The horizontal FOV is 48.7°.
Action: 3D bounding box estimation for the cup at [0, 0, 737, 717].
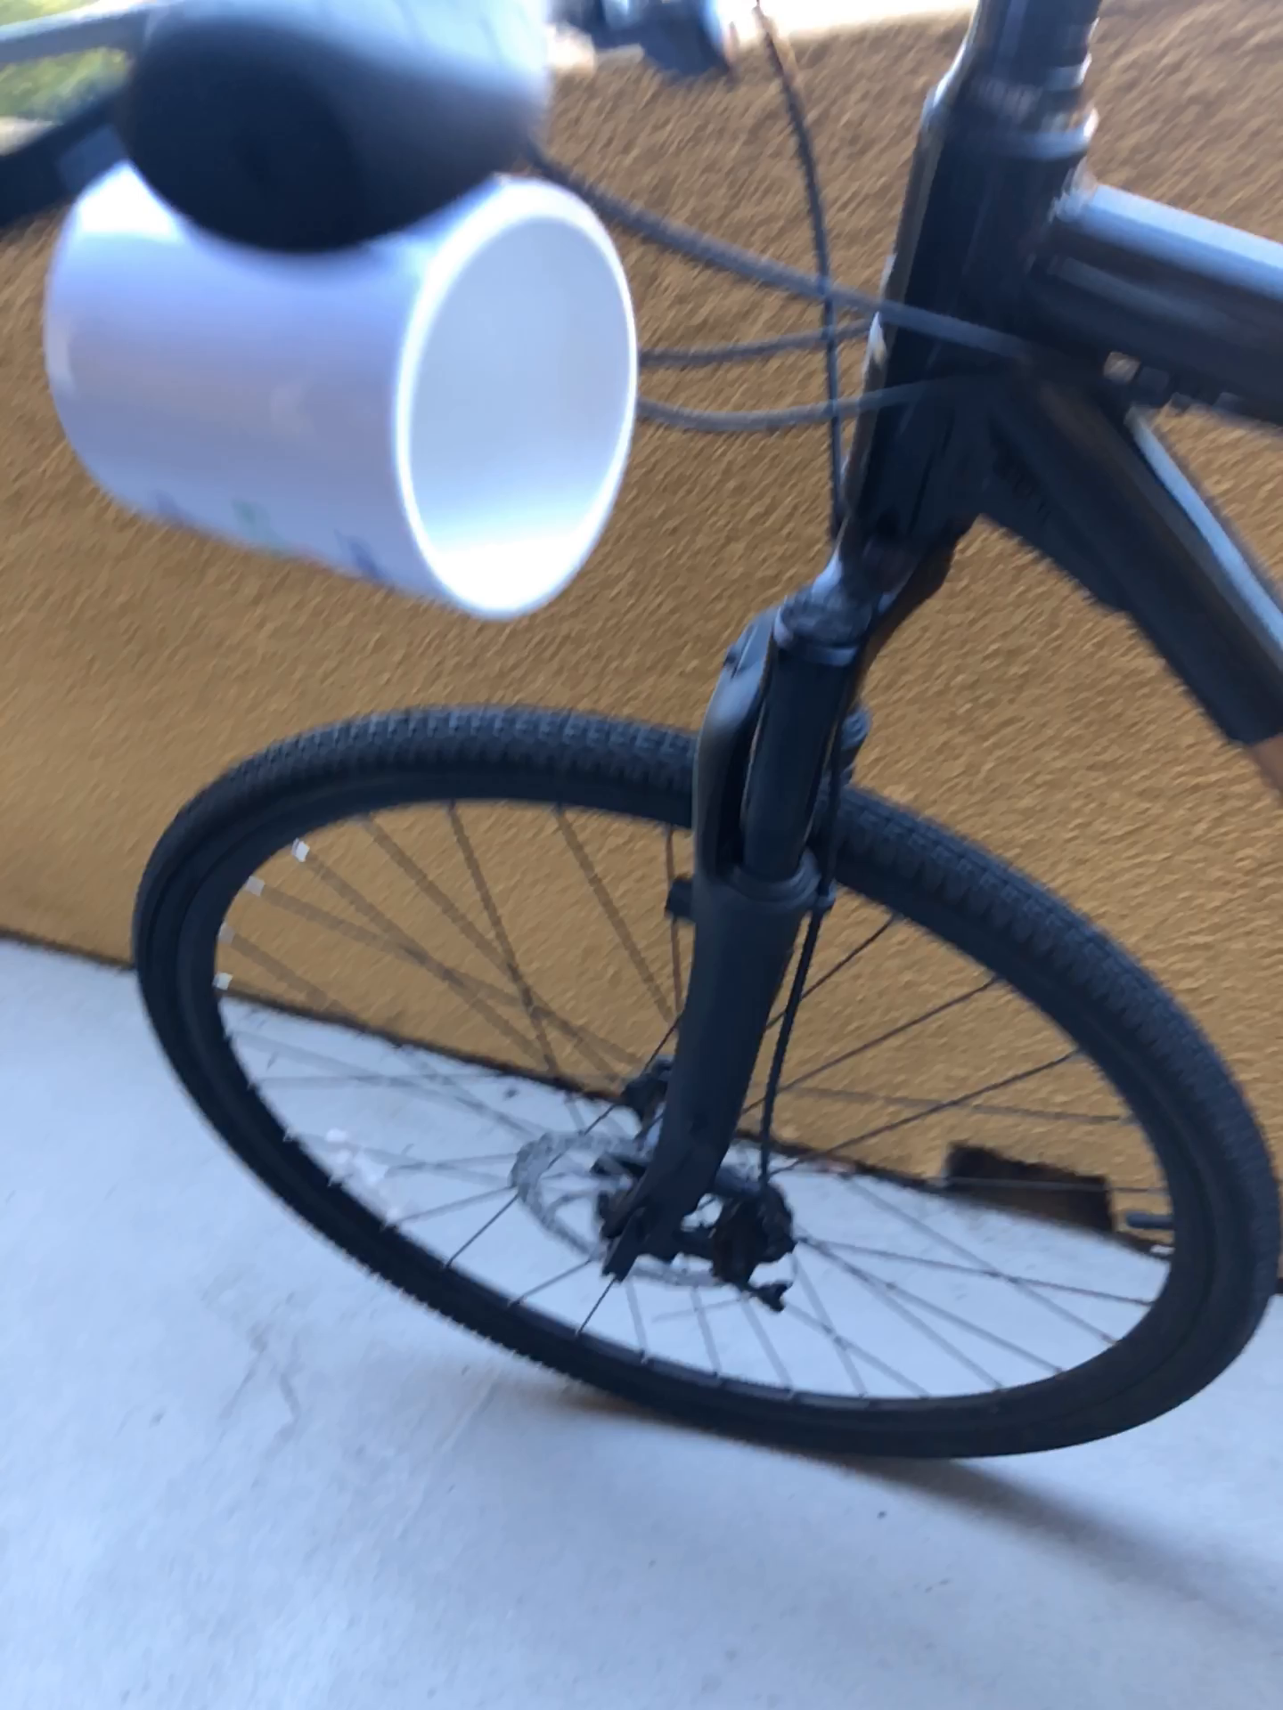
[{"bbox_3d":[-0.064,-0.116,0.290,0.120,0.119,0.090,20,51,34],"label":"cup"}]
